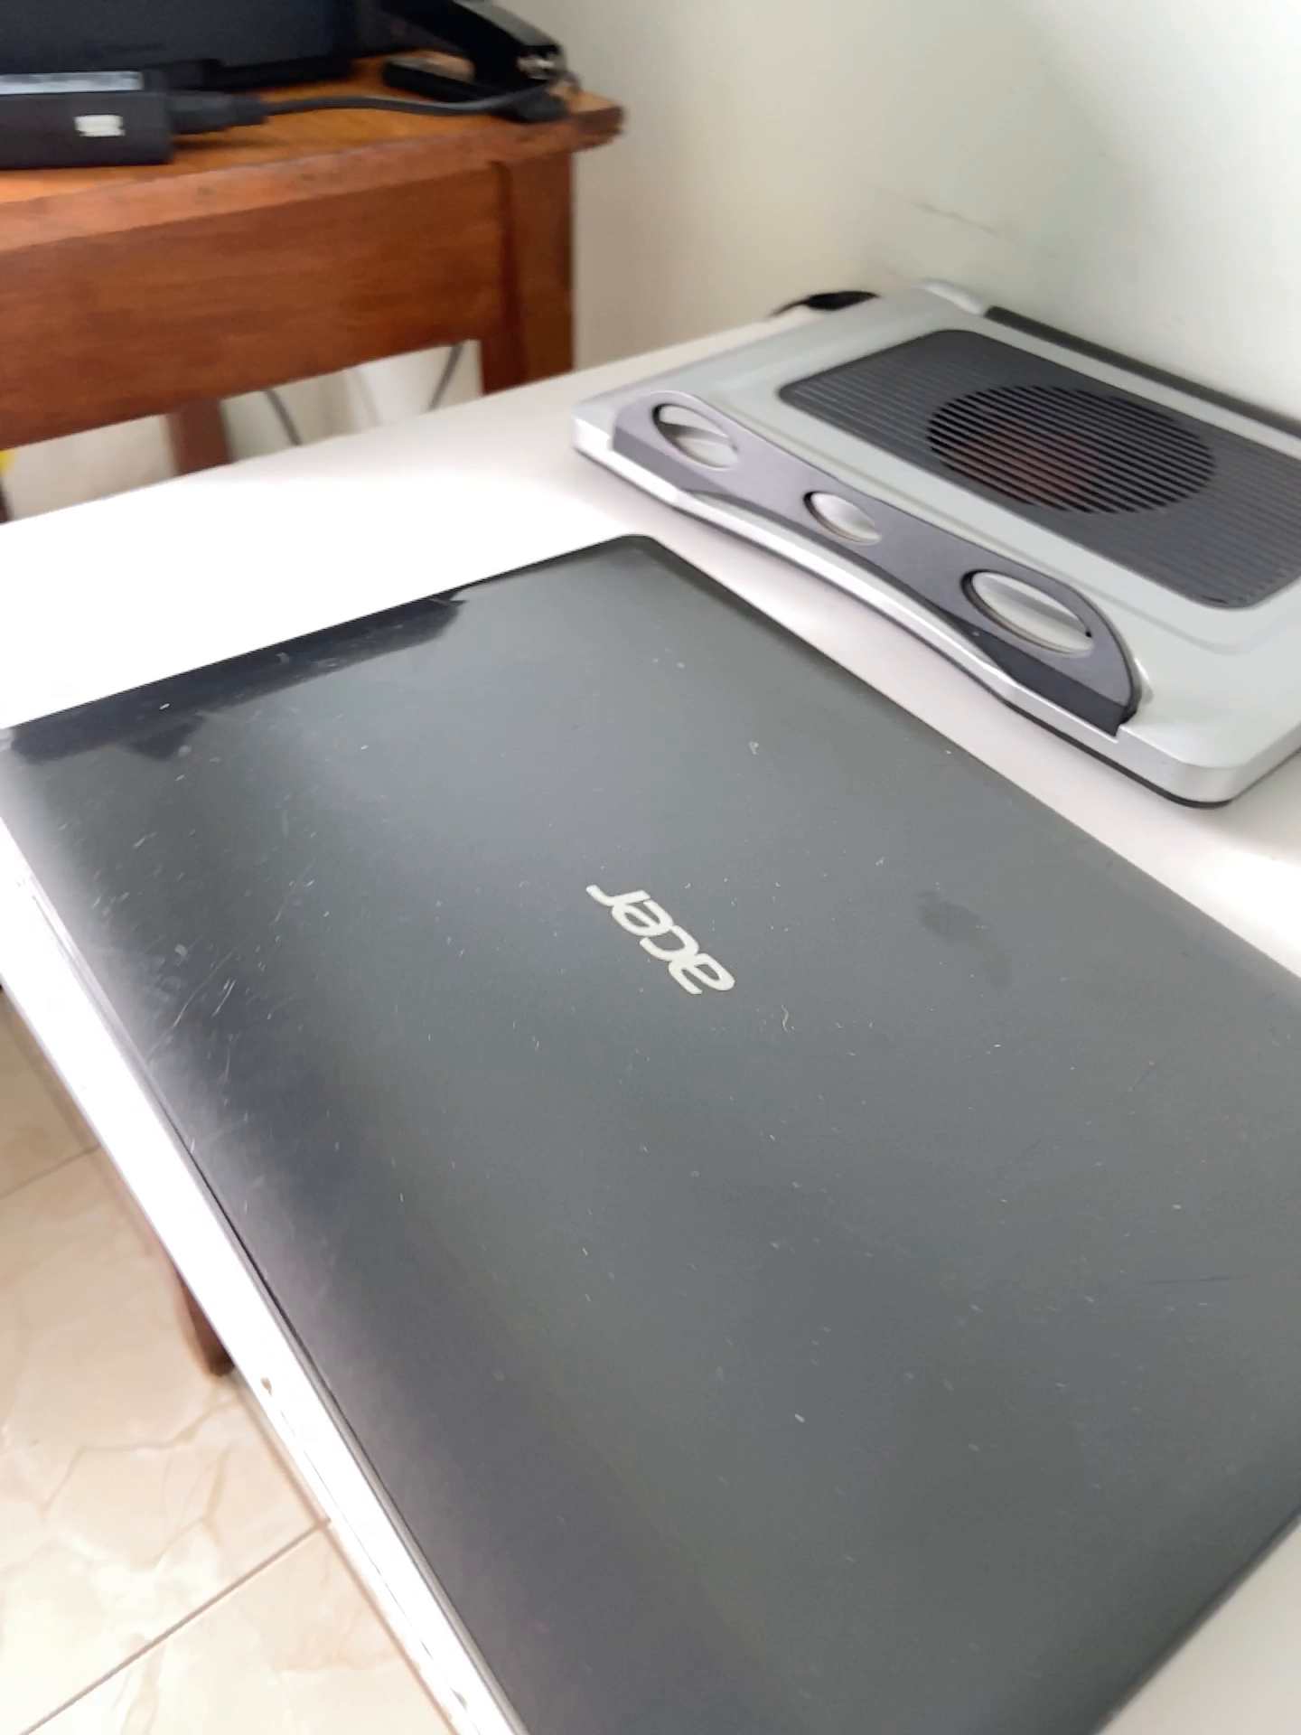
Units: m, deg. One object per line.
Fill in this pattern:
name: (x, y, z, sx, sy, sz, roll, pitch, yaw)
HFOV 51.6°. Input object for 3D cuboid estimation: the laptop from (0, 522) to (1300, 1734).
laptop: (0.006, 0.015, 0.325, 0.230, 0.005, 0.336, -24, 49, -29)
